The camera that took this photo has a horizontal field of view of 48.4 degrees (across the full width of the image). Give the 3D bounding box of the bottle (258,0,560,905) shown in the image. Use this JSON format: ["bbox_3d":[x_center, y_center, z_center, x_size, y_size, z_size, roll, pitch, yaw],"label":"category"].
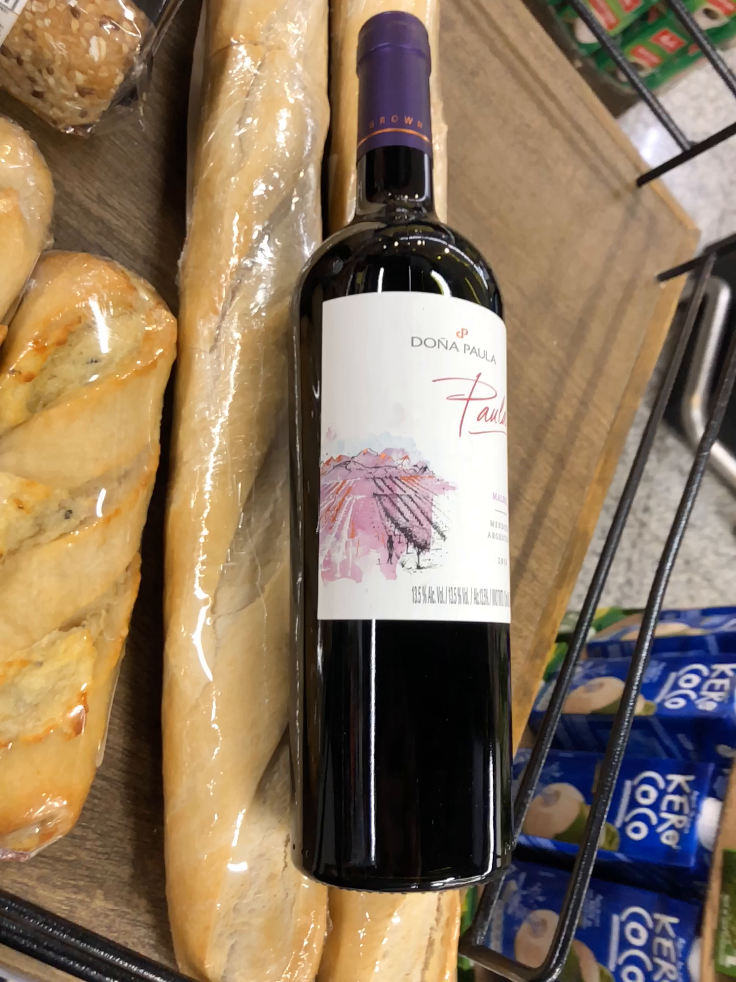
[{"bbox_3d":[0.010,-0.035,0.278,0.070,0.060,0.300,7,76,-34],"label":"bottle"}]
